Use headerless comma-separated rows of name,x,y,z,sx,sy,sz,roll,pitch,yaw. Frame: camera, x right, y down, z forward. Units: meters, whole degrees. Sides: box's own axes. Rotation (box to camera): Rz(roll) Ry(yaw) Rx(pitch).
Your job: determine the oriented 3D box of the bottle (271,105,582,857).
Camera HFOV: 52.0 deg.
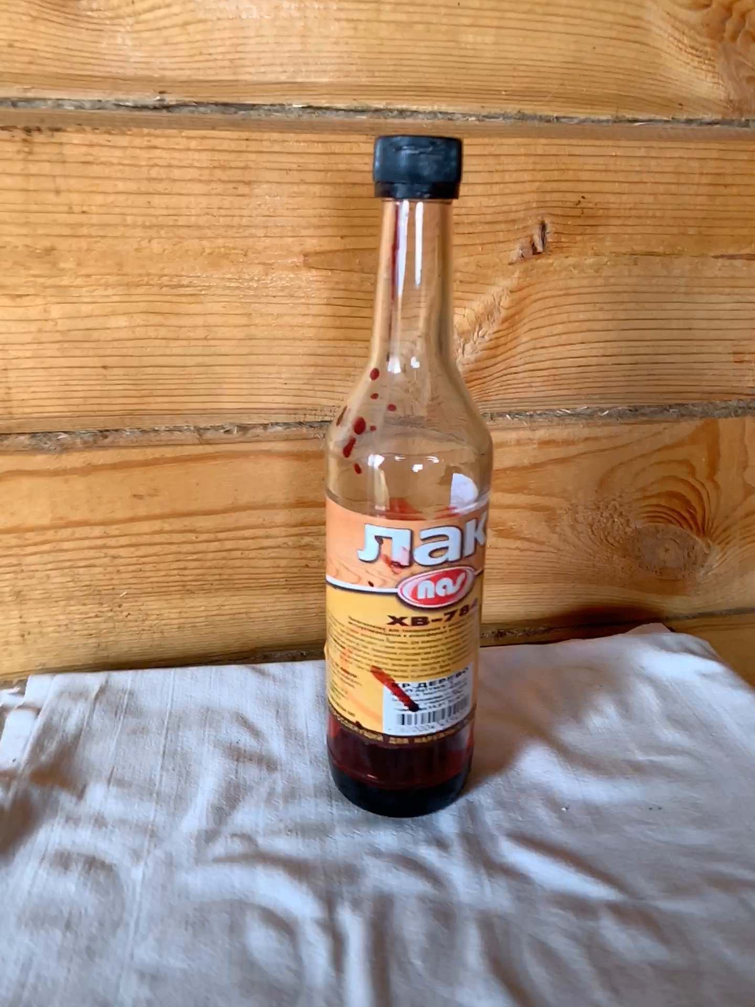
bottle,0.010,-0.003,0.298,0.080,0.258,0.070,-7,21,-21
